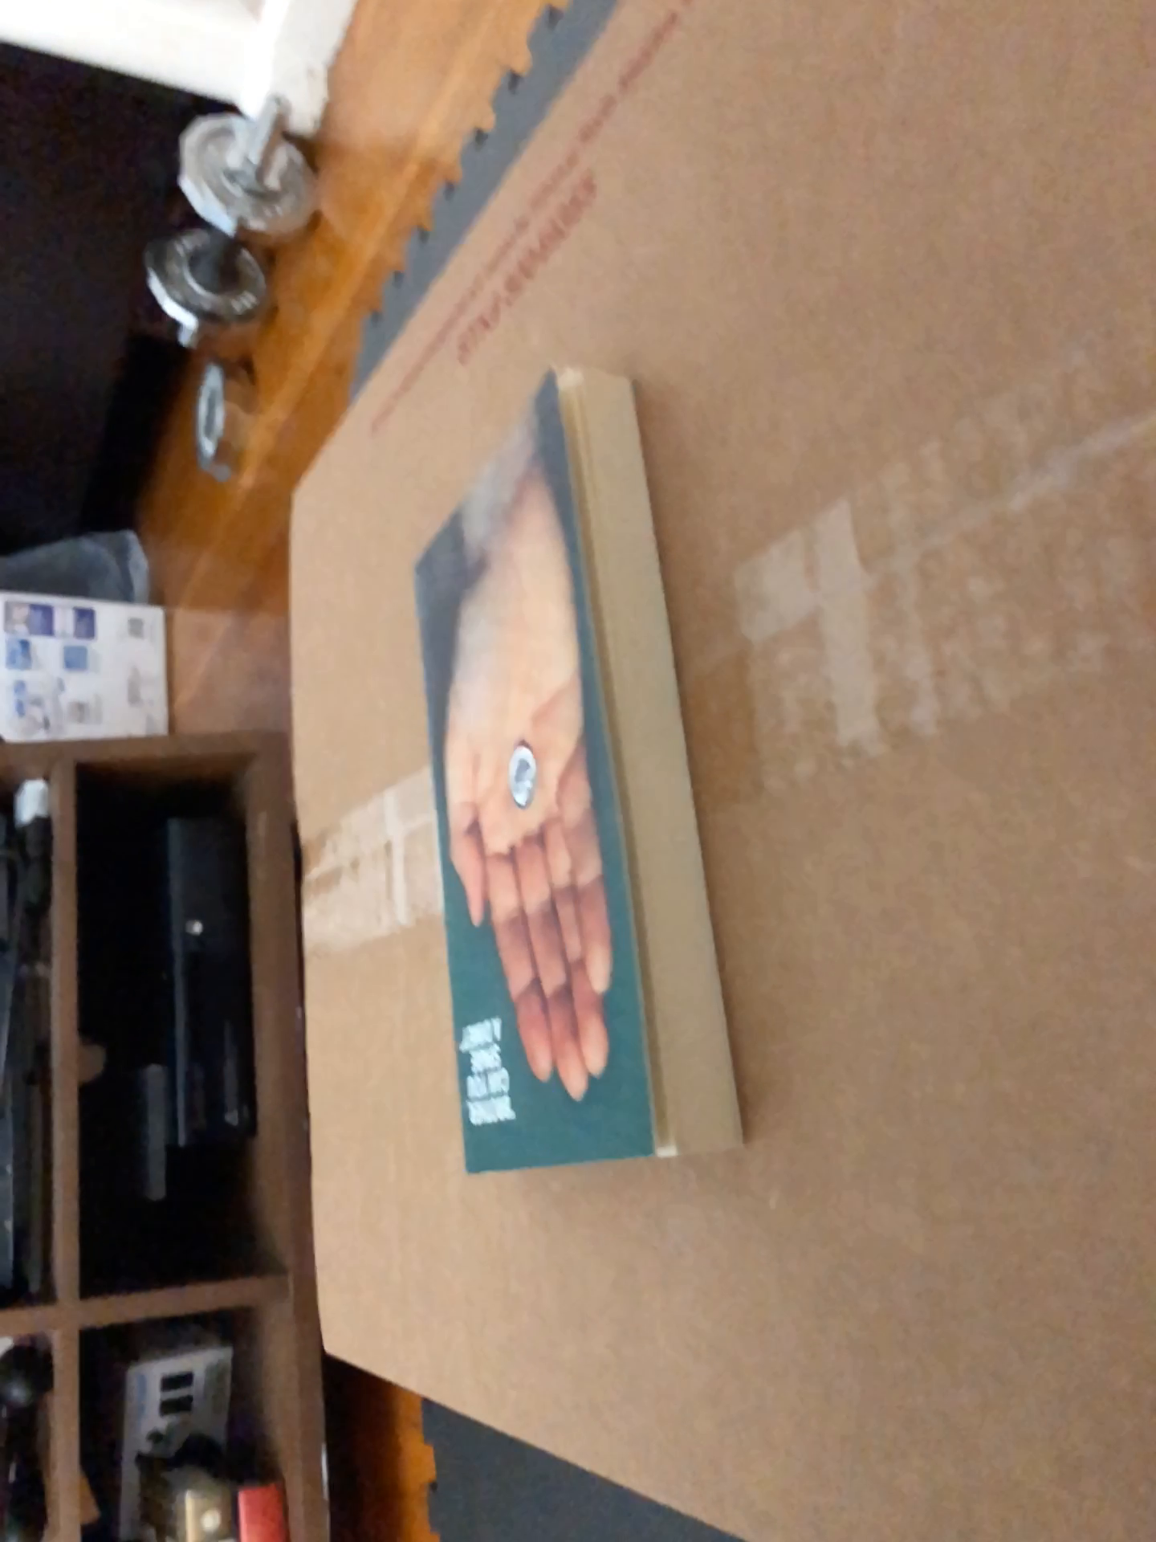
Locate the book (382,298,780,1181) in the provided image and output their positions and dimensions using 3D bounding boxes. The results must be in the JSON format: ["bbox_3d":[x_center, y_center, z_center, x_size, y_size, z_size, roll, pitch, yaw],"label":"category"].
[{"bbox_3d":[-0.010,0.002,0.306,0.120,0.020,0.180,-33,60,57],"label":"book"}]
